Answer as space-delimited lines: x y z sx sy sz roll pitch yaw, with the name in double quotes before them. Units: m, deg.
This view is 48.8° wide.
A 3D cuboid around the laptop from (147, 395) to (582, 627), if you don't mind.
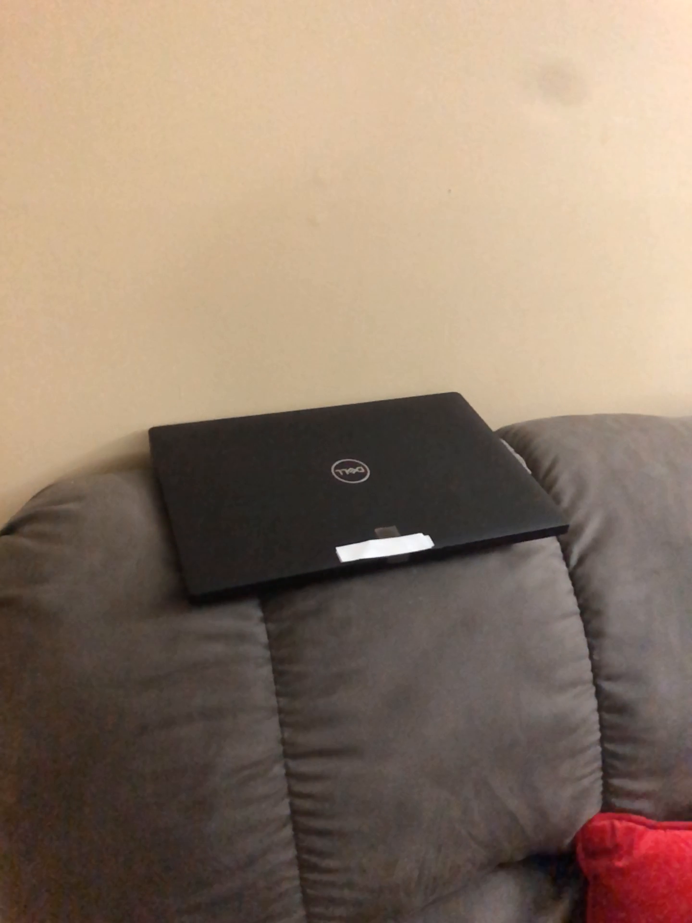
"laptop" 0.007 0.026 0.682 0.326 0.030 0.215 -8 39 -18
